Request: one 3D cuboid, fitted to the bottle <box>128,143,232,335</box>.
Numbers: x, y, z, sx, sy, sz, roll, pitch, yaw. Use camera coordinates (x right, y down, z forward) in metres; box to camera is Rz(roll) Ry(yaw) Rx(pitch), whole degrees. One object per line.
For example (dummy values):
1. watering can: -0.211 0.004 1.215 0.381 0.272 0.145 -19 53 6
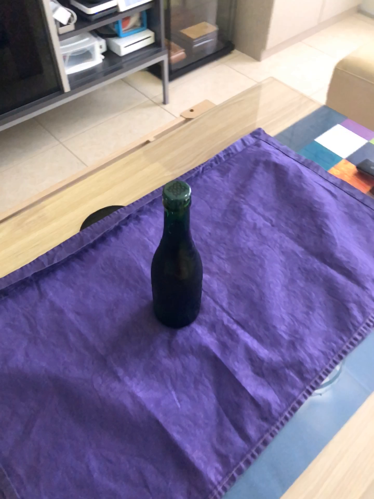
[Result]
1. bottle: -0.010 0.002 0.462 0.070 0.219 0.080 -17 55 -14
